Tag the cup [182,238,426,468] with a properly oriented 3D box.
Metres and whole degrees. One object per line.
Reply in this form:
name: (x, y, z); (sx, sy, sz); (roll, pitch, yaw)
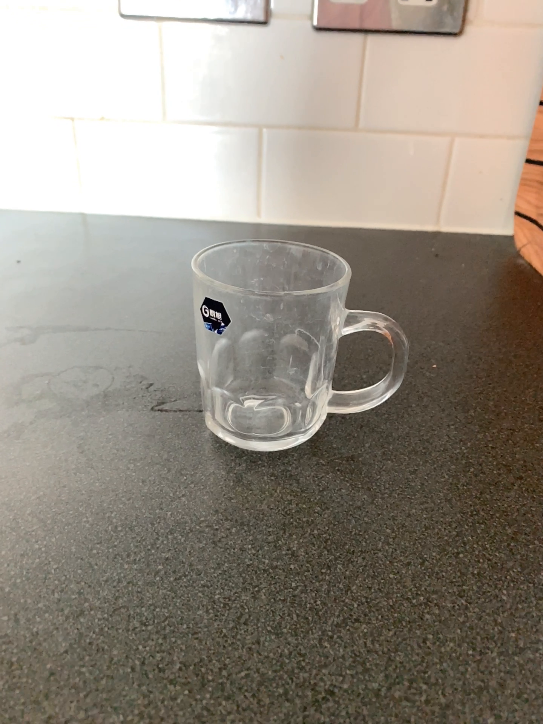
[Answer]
cup: (0.010, -0.007, 0.281); (0.100, 0.090, 0.071); (0, 28, -4)
